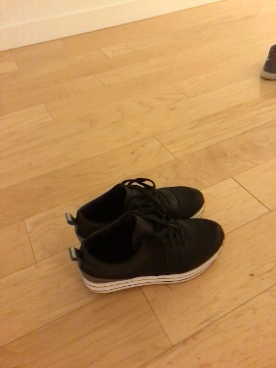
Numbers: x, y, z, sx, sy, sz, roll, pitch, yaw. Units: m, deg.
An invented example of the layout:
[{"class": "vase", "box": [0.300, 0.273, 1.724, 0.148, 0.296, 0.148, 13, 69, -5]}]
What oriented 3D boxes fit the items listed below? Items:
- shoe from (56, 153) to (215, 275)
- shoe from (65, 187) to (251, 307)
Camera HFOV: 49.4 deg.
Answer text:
[{"class": "shoe", "box": [-0.001, 0.057, 0.605, 0.280, 0.139, 0.101, -16, 44, -11]}, {"class": "shoe", "box": [0.031, 0.114, 0.542, 0.290, 0.139, 0.101, -10, 43, -4]}]
